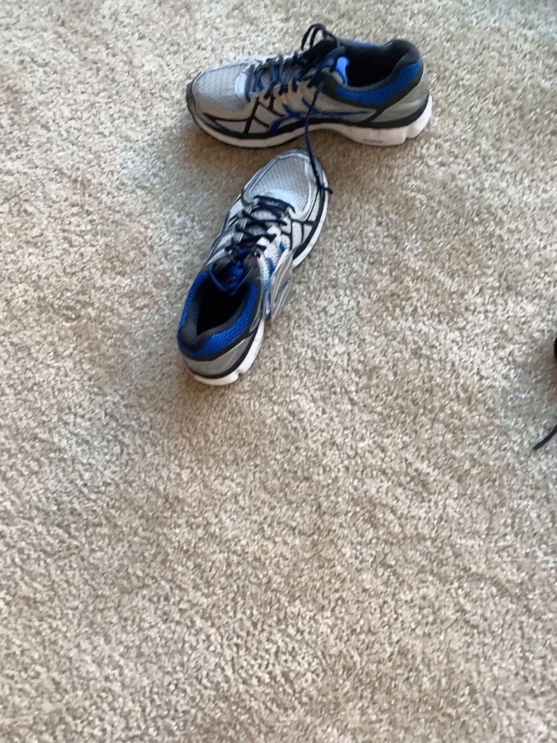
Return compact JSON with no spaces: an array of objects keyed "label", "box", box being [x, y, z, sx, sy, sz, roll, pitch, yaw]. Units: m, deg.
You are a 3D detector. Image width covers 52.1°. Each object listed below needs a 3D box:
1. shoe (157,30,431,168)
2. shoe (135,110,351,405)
[{"label":"shoe","box":[0.022,-0.331,0.708,0.310,0.110,0.100,2,77,8]},{"label":"shoe","box":[-0.027,-0.122,0.638,0.100,0.110,0.290,25,81,12]}]
